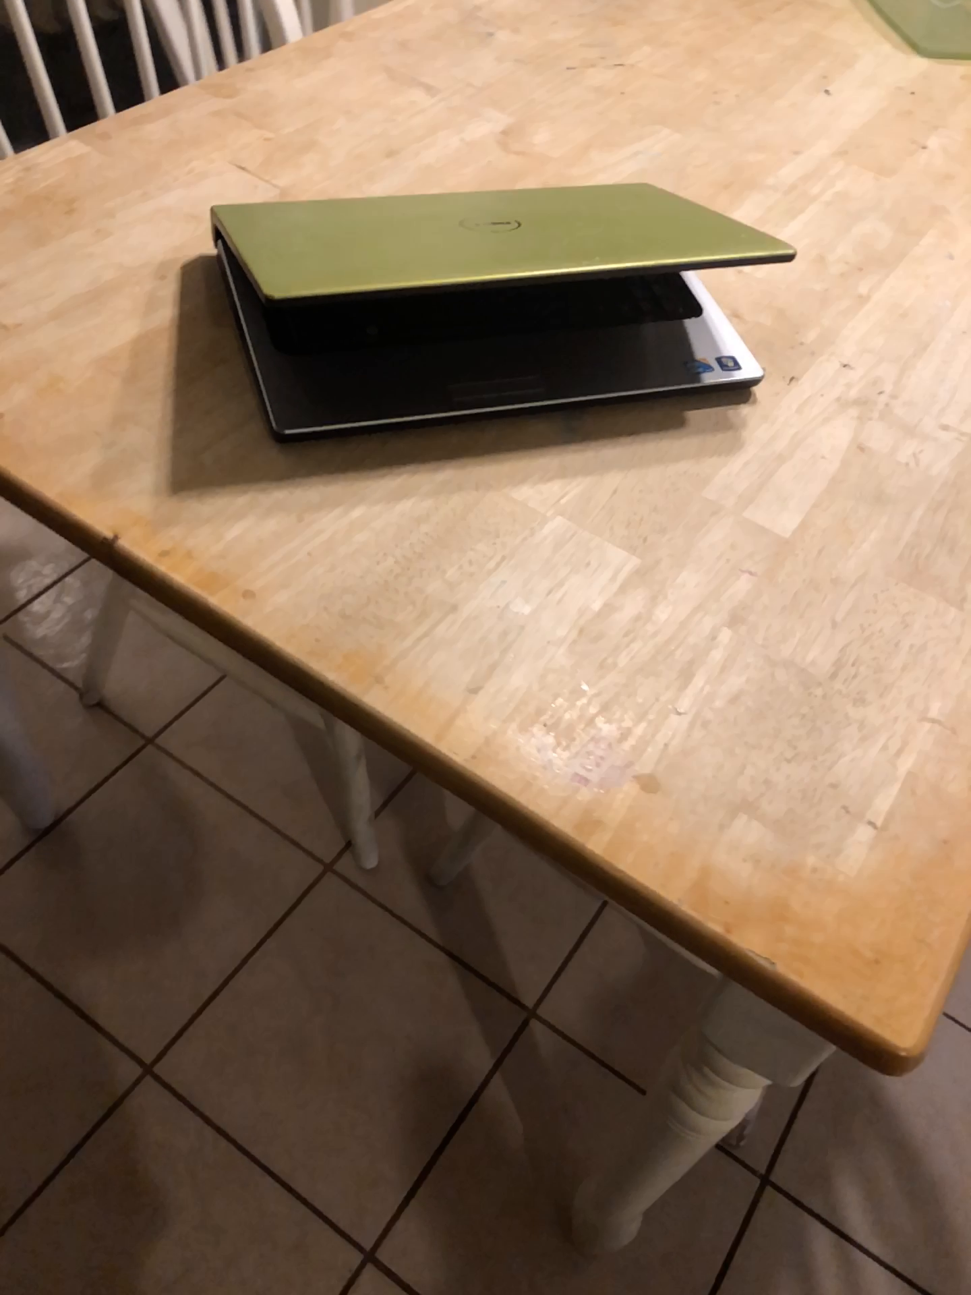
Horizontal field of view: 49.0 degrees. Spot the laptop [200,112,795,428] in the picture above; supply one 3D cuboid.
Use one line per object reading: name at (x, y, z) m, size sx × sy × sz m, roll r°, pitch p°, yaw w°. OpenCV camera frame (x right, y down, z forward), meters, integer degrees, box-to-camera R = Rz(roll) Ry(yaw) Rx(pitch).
laptop at (0.001, -0.284, 0.769) m, size 0.358 × 0.077 × 0.228 m, roll -10°, pitch 55°, yaw -16°
